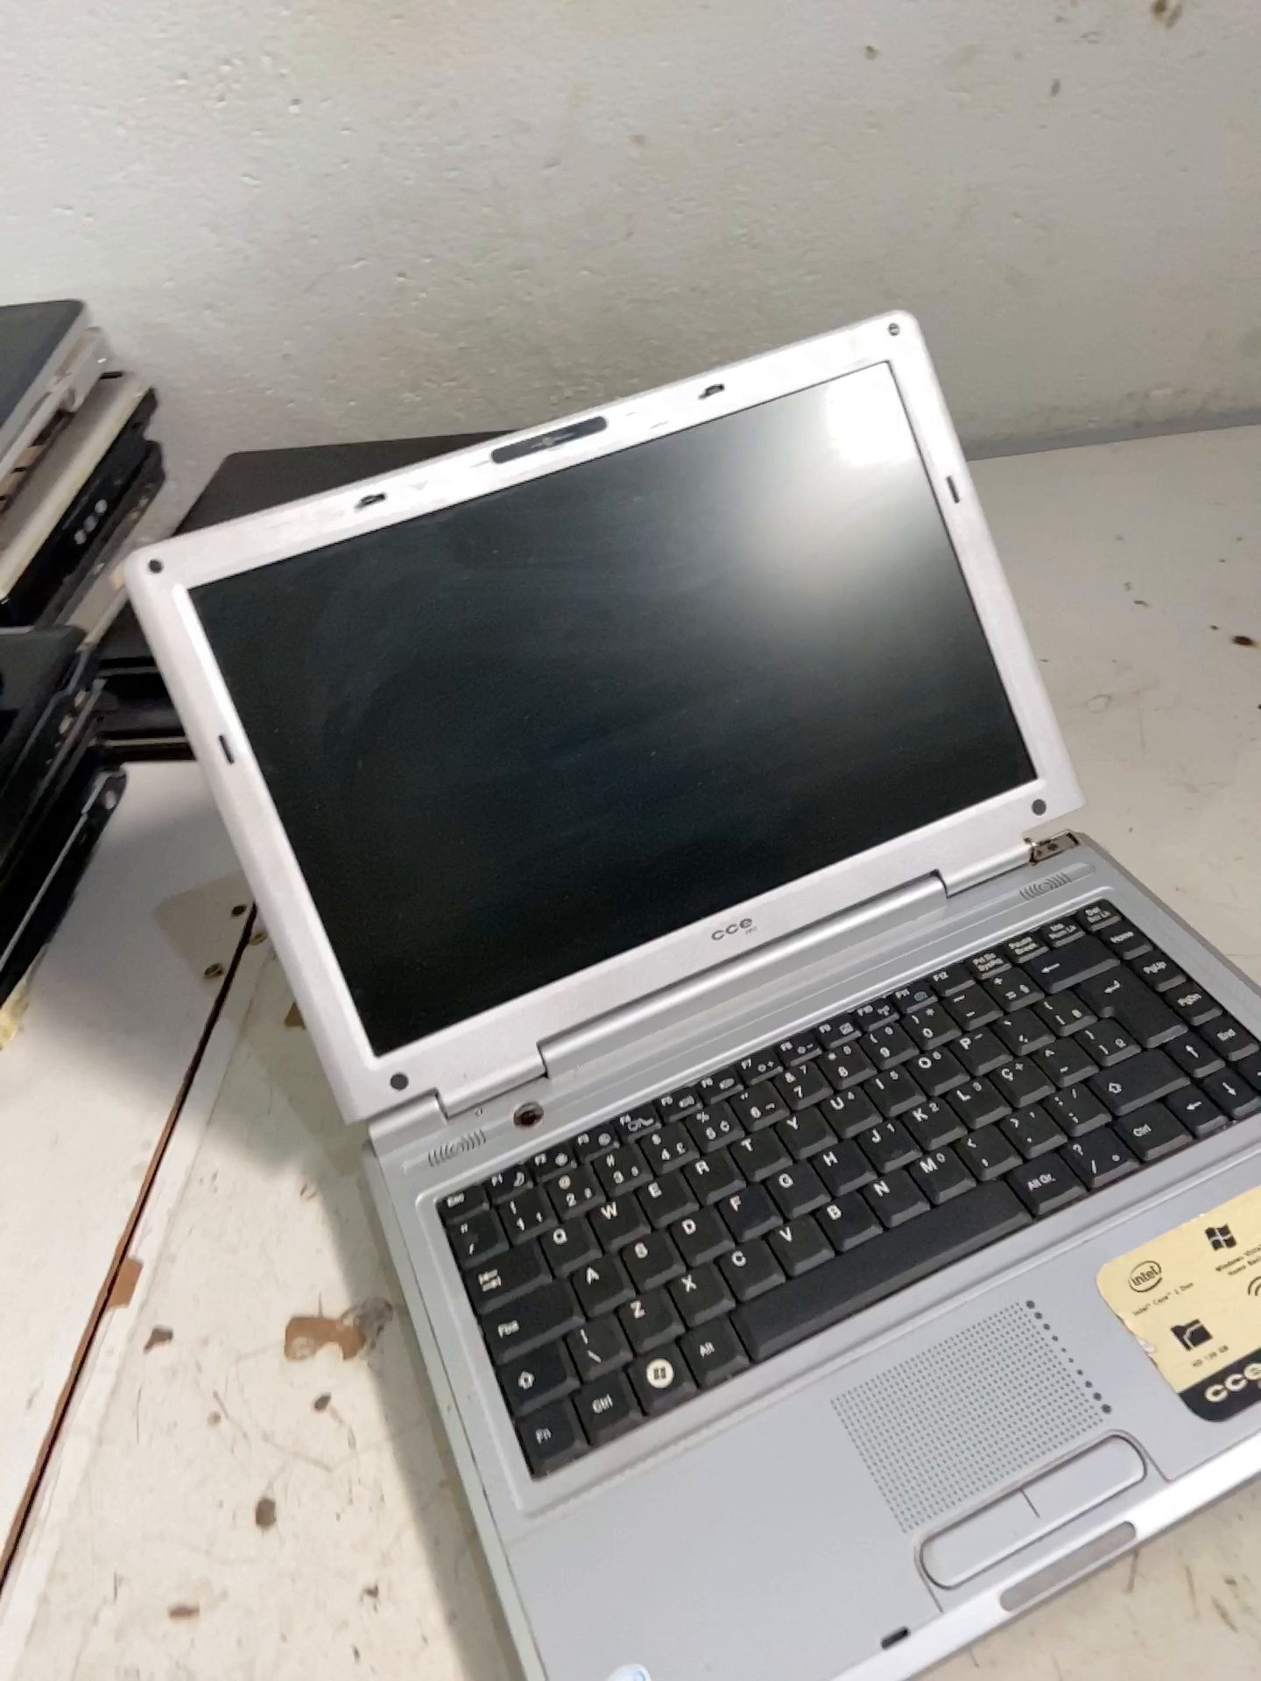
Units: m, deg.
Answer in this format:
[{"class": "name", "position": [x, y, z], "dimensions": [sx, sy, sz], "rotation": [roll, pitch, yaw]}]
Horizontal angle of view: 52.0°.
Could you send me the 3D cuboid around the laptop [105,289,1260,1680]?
[{"class": "laptop", "position": [0.050, 0.014, 0.440], "dimensions": [0.338, 0.190, 0.389], "rotation": [-22, 44, -12]}]
